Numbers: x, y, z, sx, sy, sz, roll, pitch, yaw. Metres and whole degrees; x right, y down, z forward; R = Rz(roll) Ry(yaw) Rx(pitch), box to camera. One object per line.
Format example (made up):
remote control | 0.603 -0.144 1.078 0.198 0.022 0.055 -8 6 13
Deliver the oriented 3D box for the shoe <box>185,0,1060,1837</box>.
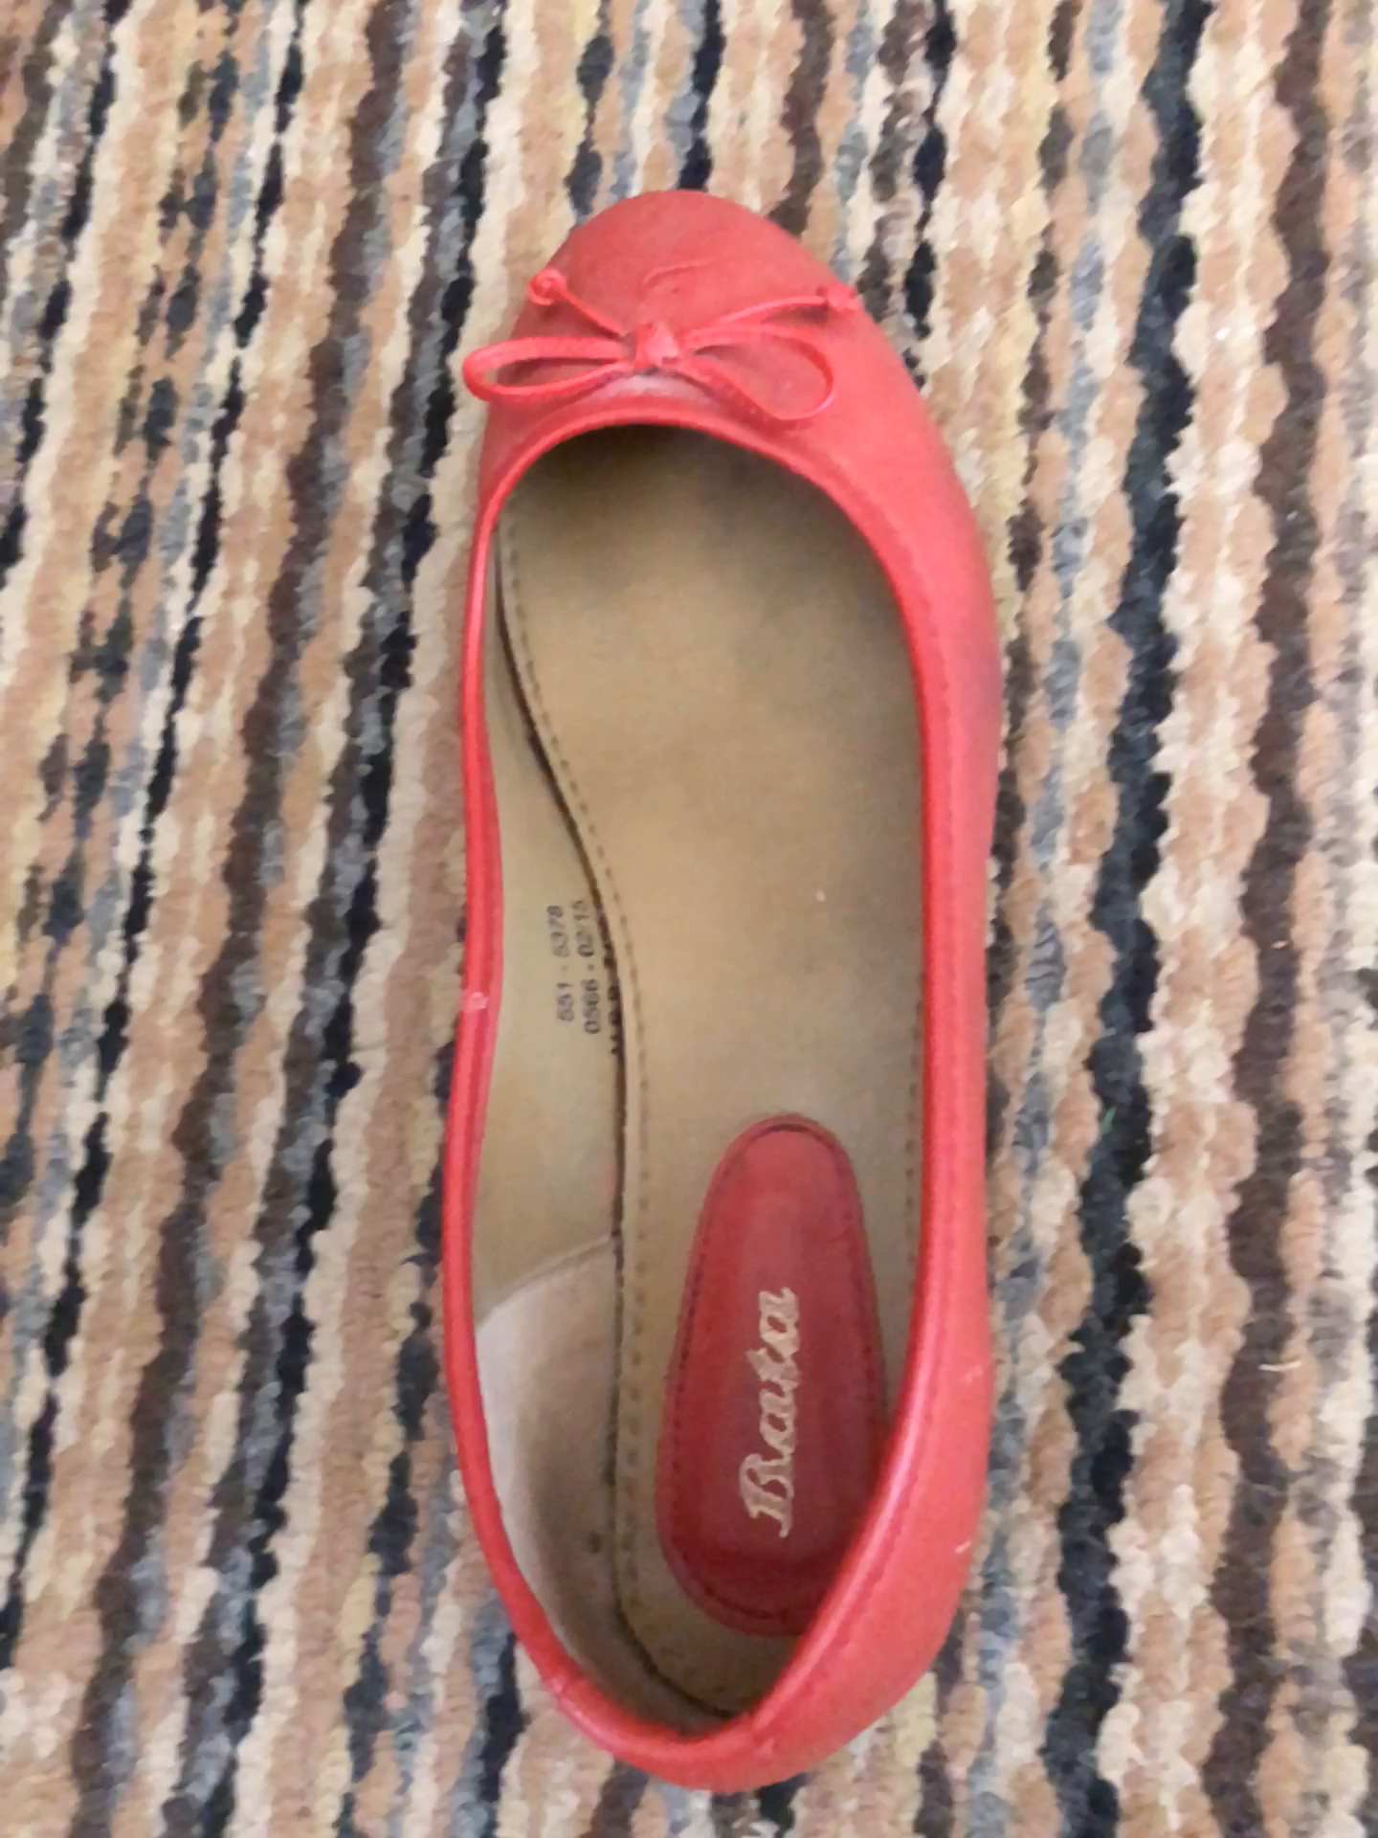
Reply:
shoe | -0.002 -0.014 0.250 0.100 0.110 0.270 -5 77 12
